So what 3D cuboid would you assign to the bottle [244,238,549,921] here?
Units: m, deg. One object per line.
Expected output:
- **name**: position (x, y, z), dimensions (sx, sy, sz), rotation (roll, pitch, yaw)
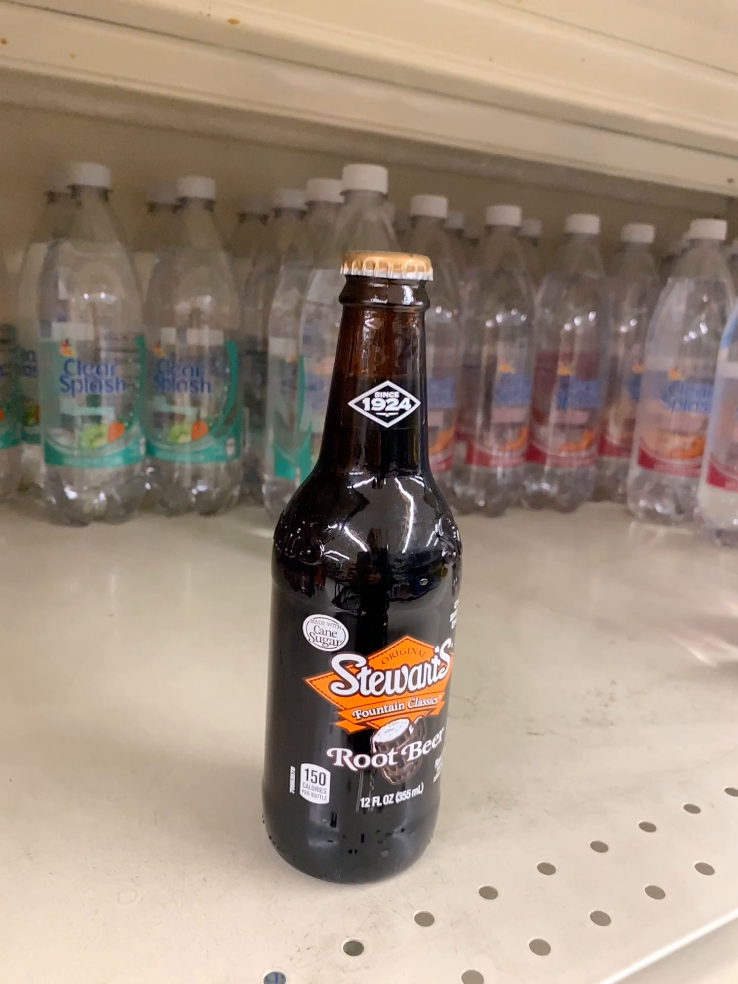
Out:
- **bottle**: position (0.001, 0.027, 0.257), dimensions (0.070, 0.208, 0.060), rotation (-2, 16, -21)
